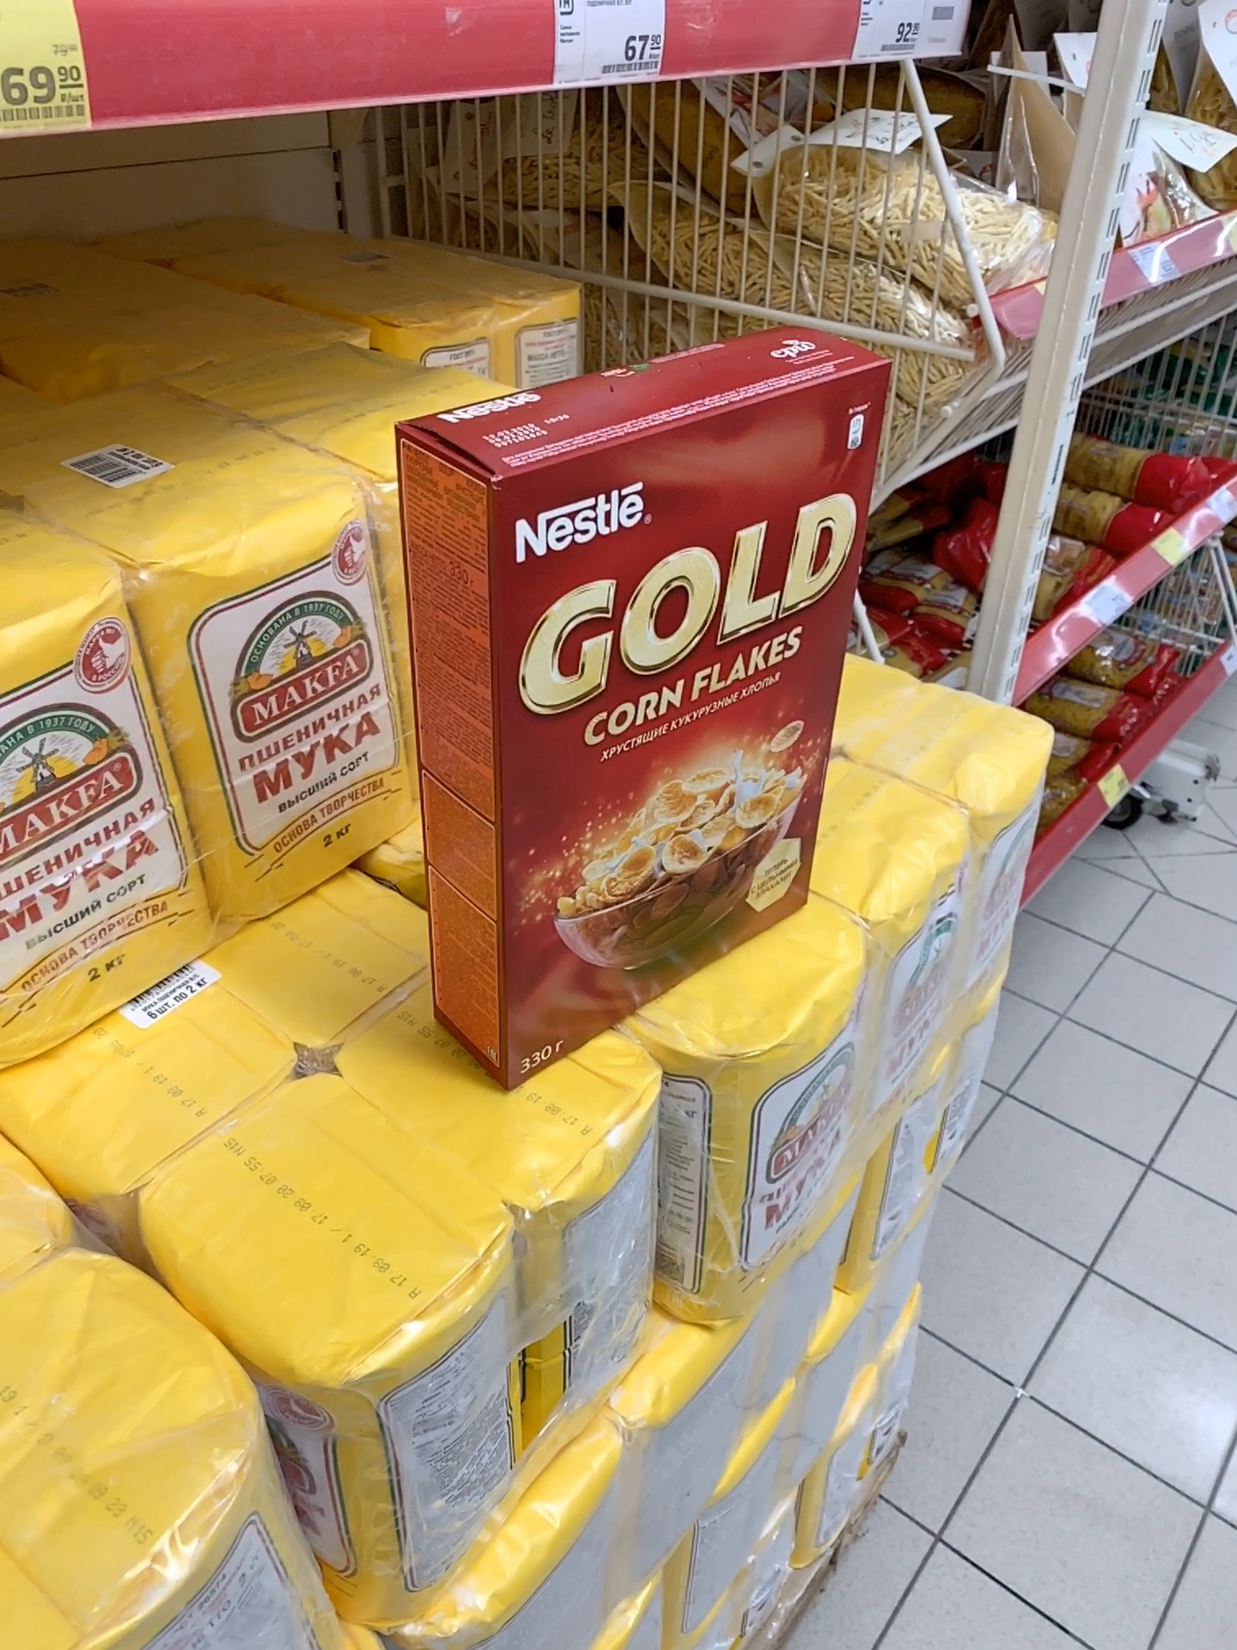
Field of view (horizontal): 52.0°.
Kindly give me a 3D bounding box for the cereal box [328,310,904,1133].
[{"bbox_3d":[-0.001,-0.042,0.528,0.211,0.287,0.070,-26,46,-35],"label":"cereal box"}]
